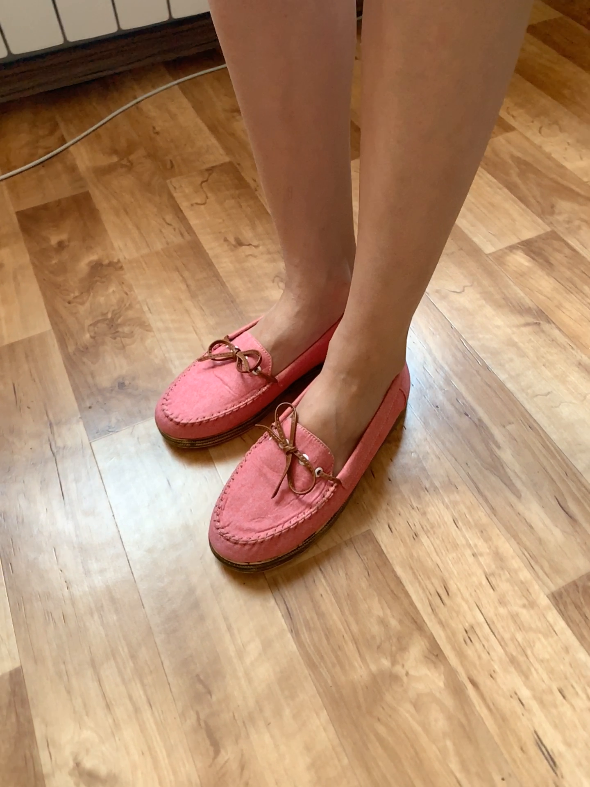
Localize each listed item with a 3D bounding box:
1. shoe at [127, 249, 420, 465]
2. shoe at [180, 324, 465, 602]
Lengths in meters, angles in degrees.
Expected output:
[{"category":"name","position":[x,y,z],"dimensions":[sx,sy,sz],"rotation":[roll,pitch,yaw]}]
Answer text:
[{"category":"shoe","position":[-0.017,-0.043,0.592],"dimensions":[0.260,0.060,0.100],"rotation":[-27,57,-17]},{"category":"shoe","position":[0.031,0.050,0.528],"dimensions":[0.090,0.060,0.250],"rotation":[38,63,26]}]
